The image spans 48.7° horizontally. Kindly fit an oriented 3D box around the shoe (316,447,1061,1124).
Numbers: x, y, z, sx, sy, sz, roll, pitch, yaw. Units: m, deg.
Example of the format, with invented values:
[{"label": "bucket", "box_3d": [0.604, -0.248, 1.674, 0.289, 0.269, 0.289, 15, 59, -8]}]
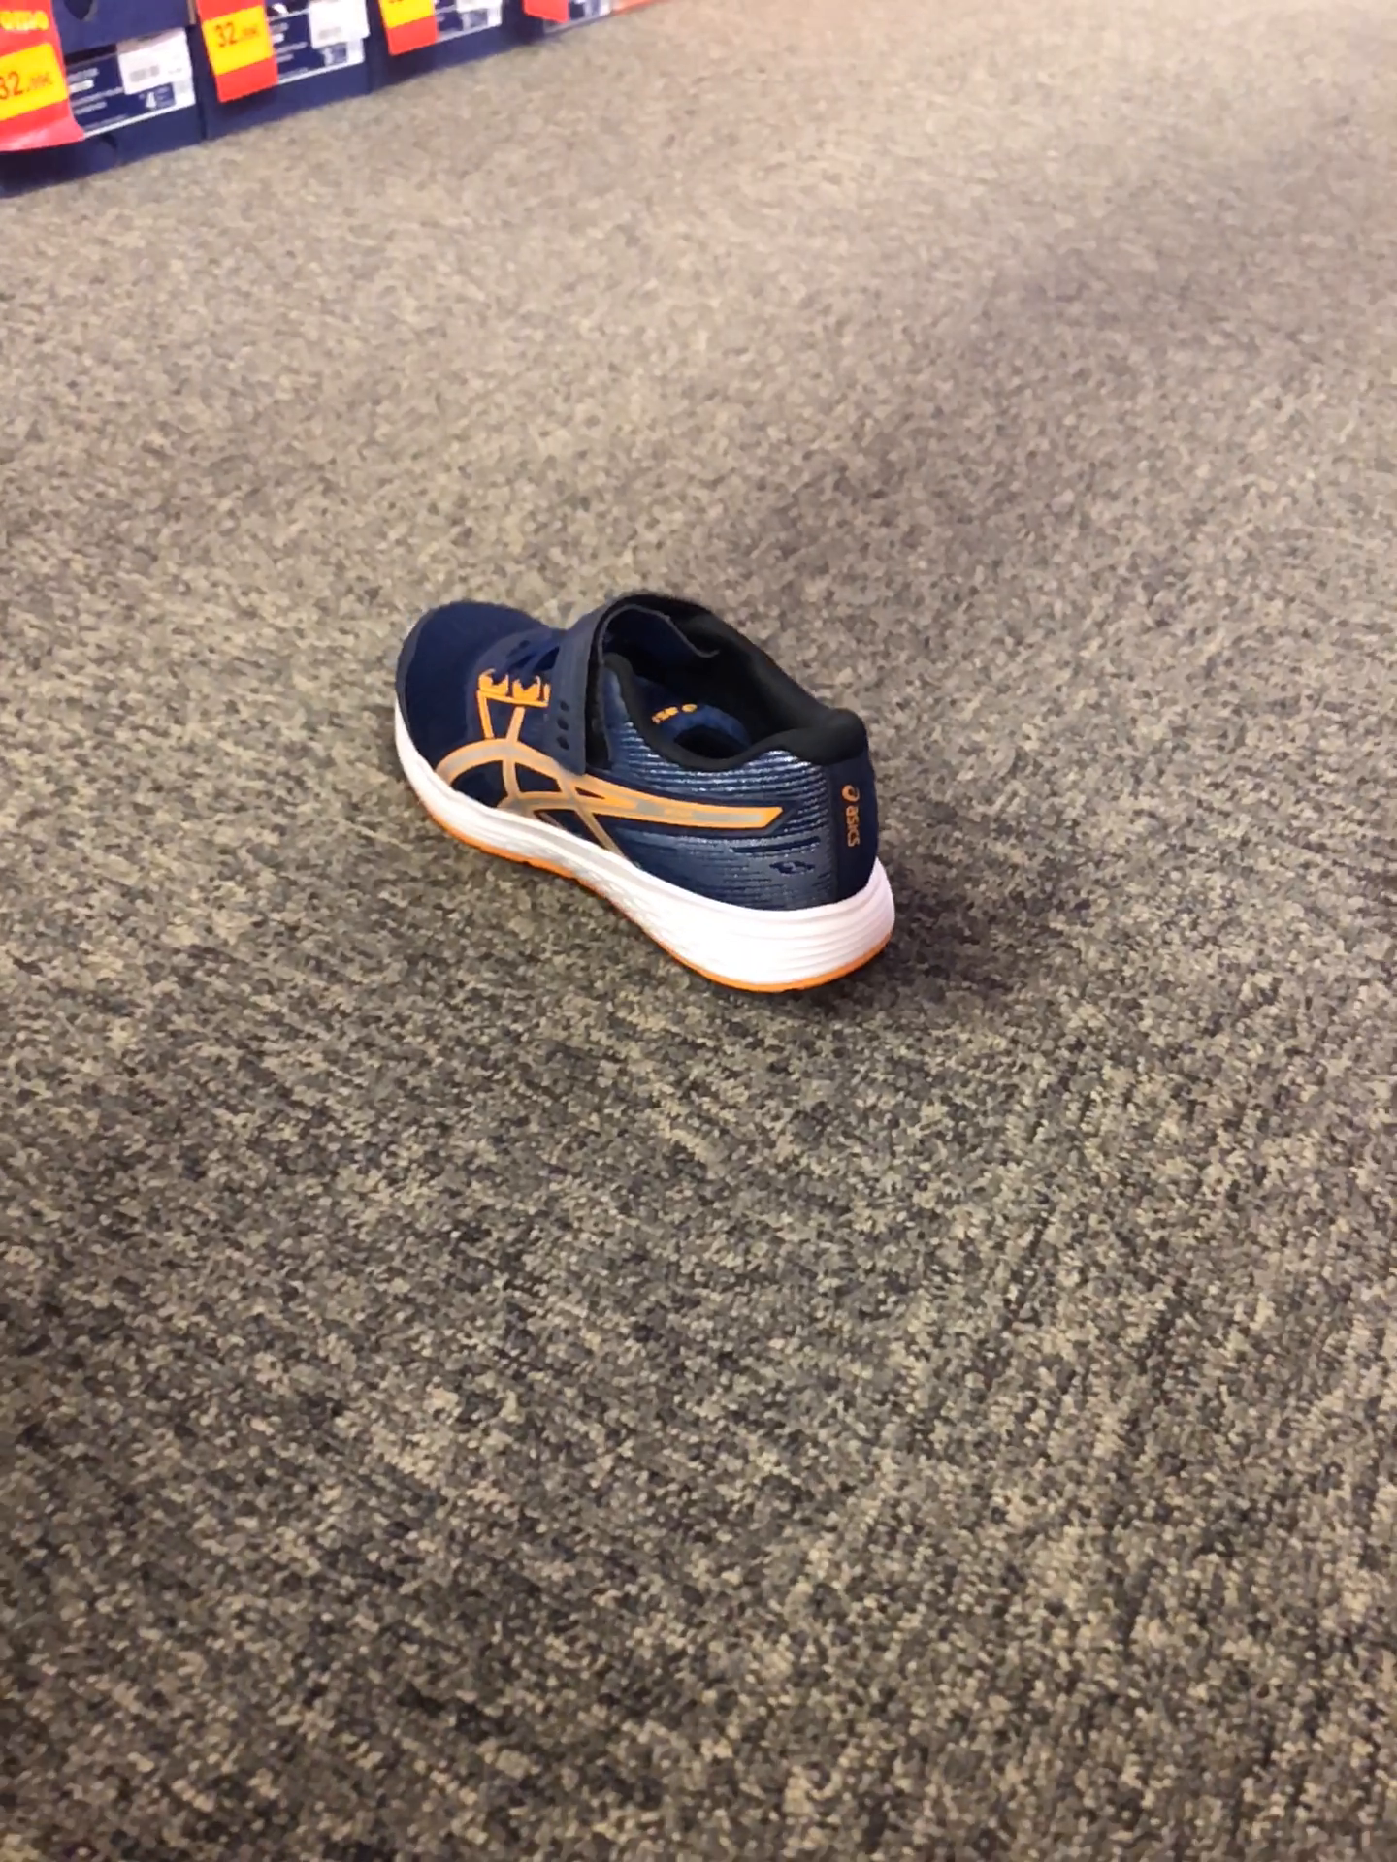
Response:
[{"label": "shoe", "box_3d": [-0.014, -0.059, 0.500, 0.090, 0.099, 0.235, -31, 51, -32]}]
